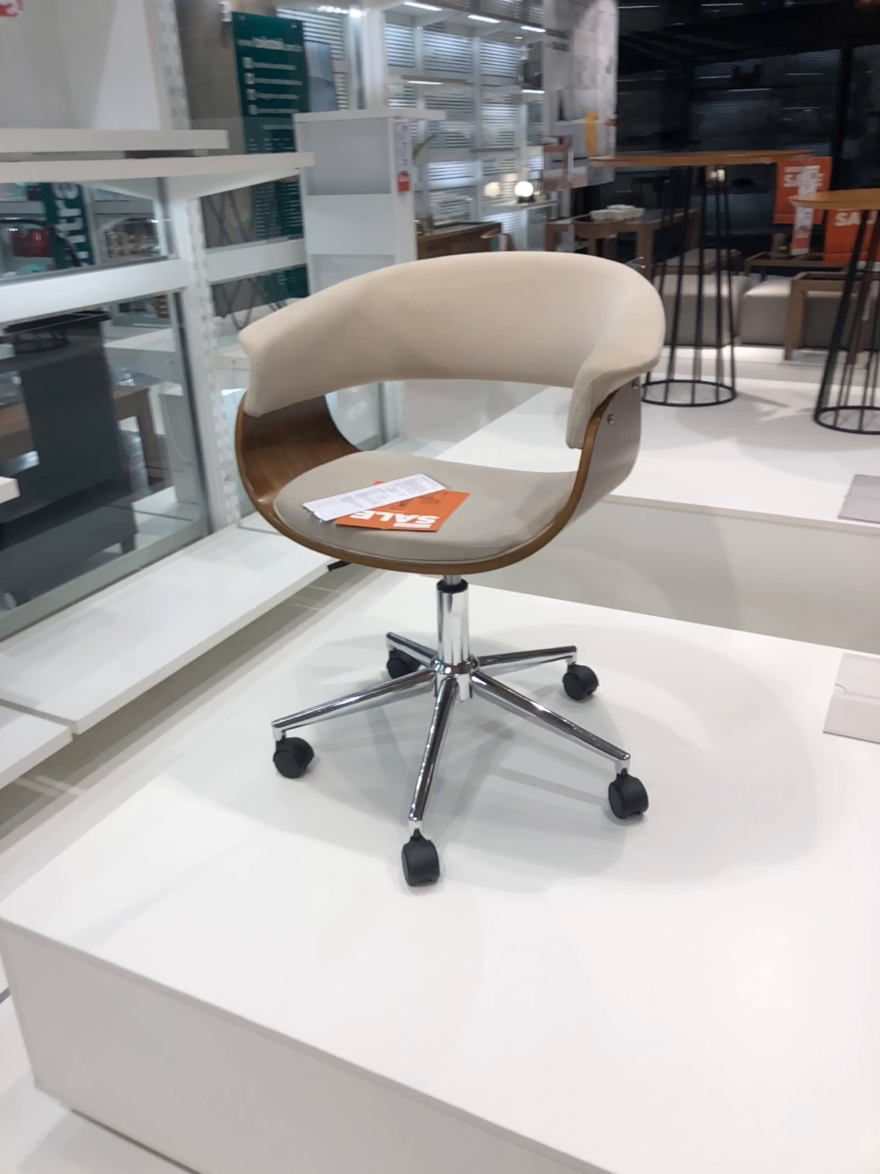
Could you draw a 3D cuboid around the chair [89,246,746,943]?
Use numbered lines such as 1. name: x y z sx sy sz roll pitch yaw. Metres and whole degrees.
1. chair: 0.034 -0.084 1.411 0.631 0.725 0.674 9 26 25
